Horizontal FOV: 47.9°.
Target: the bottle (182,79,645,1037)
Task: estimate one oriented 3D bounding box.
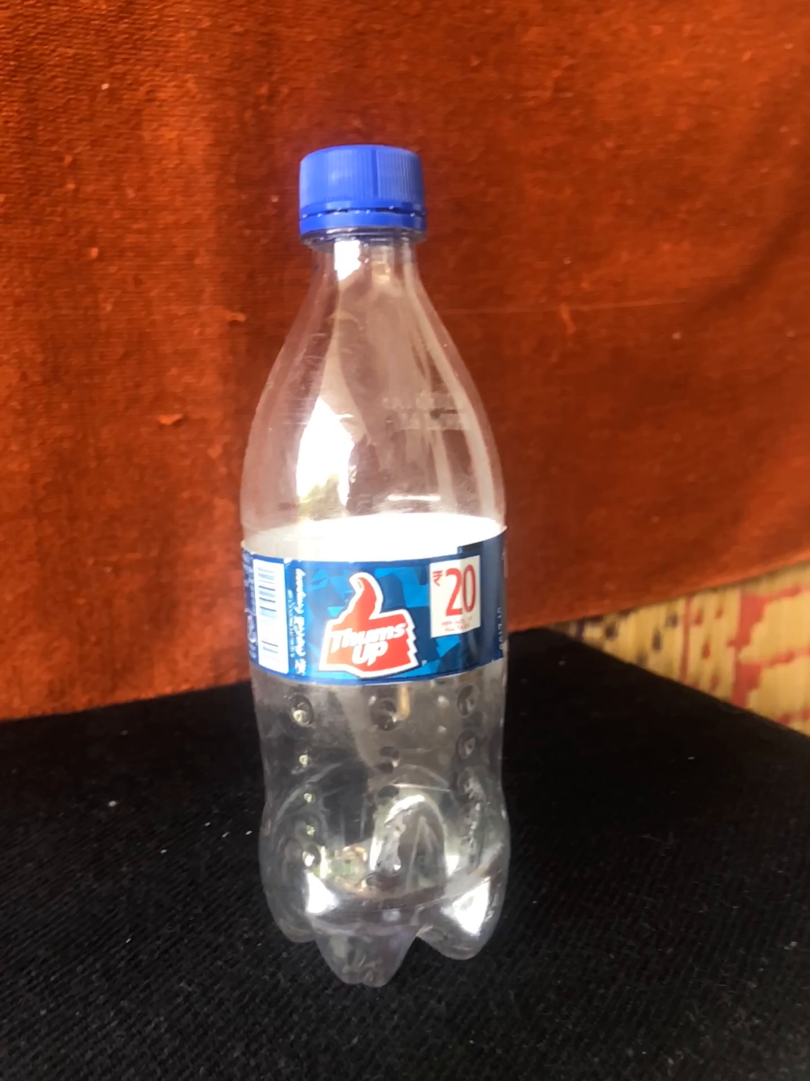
[{"bbox_3d":[-0.002,0.002,0.165,0.060,0.140,0.050,-5,14,-27],"label":"bottle"}]
